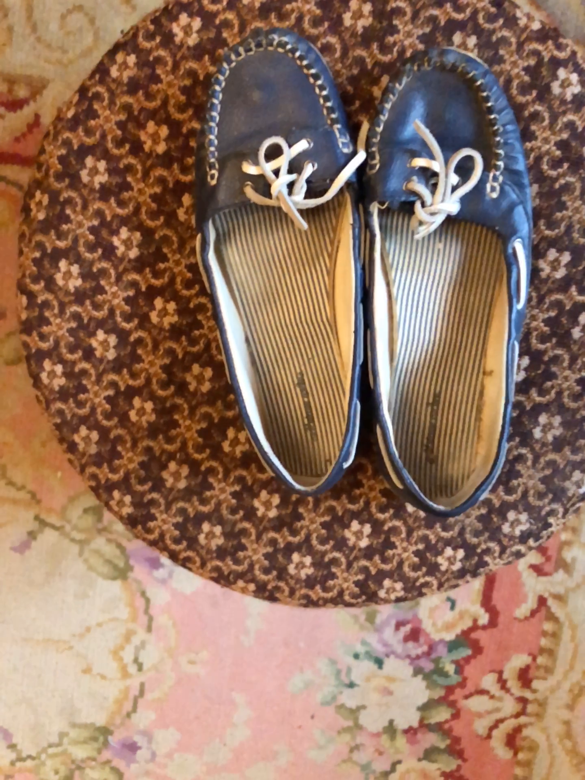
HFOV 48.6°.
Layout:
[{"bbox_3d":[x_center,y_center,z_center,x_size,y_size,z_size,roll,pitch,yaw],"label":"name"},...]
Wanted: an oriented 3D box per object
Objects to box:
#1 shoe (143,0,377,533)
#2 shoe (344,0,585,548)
[{"bbox_3d":[-0.009,-0.063,0.334,0.090,0.090,0.250,-3,97,4],"label":"shoe"},{"bbox_3d":[0.080,-0.055,0.344,0.090,0.100,0.250,-1,103,-3],"label":"shoe"}]
